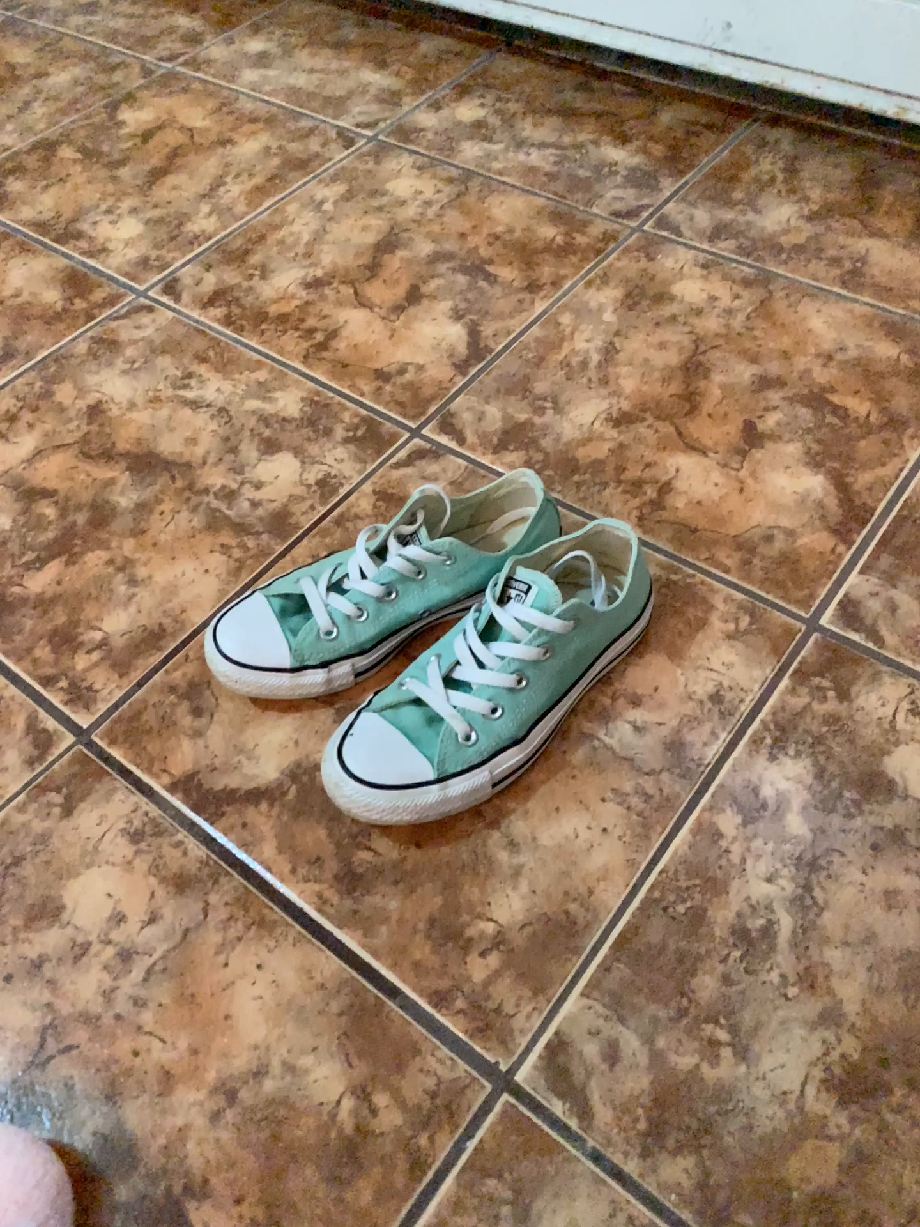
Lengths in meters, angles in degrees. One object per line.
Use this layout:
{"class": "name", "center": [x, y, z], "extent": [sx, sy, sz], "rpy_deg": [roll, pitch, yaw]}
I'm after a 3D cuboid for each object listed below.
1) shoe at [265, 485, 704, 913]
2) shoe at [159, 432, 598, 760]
{"class": "shoe", "center": [0.022, 0.041, 0.543], "extent": [0.244, 0.084, 0.095], "rpy_deg": [-38, 59, -23]}
{"class": "shoe", "center": [-0.047, -0.014, 0.593], "extent": [0.243, 0.094, 0.098], "rpy_deg": [-20, 53, -11]}
